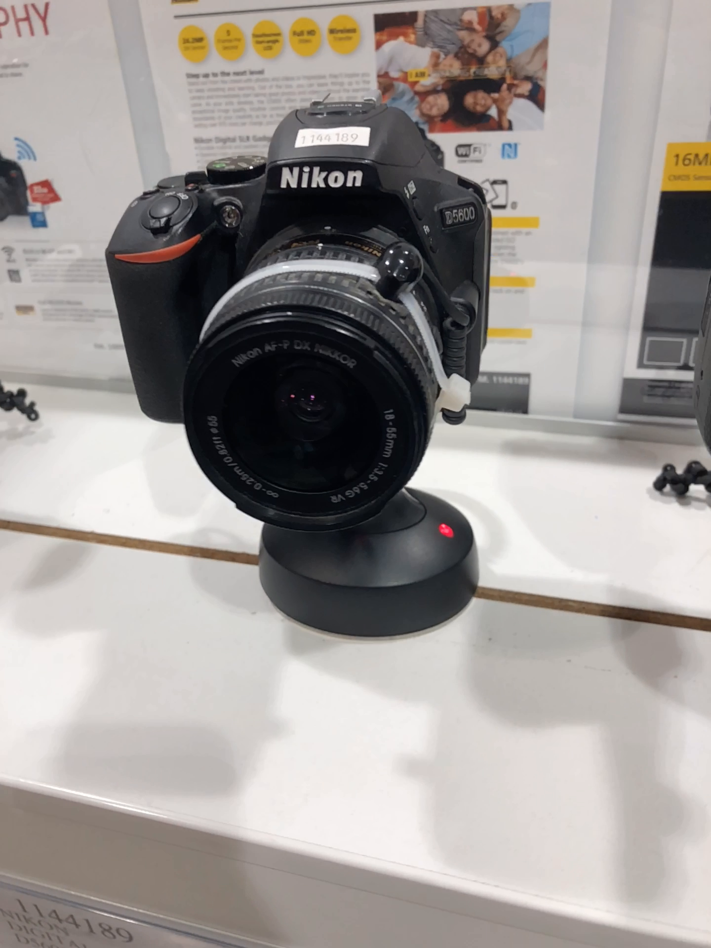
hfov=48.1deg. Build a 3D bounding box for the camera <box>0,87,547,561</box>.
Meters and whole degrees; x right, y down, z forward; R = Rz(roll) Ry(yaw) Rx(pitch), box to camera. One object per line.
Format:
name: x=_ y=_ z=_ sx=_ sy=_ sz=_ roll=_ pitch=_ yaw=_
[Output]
camera: x=-0.018 y=-0.056 z=0.241 sx=0.130 sy=0.090 sz=0.141 roll=2 pitch=33 yaw=7
